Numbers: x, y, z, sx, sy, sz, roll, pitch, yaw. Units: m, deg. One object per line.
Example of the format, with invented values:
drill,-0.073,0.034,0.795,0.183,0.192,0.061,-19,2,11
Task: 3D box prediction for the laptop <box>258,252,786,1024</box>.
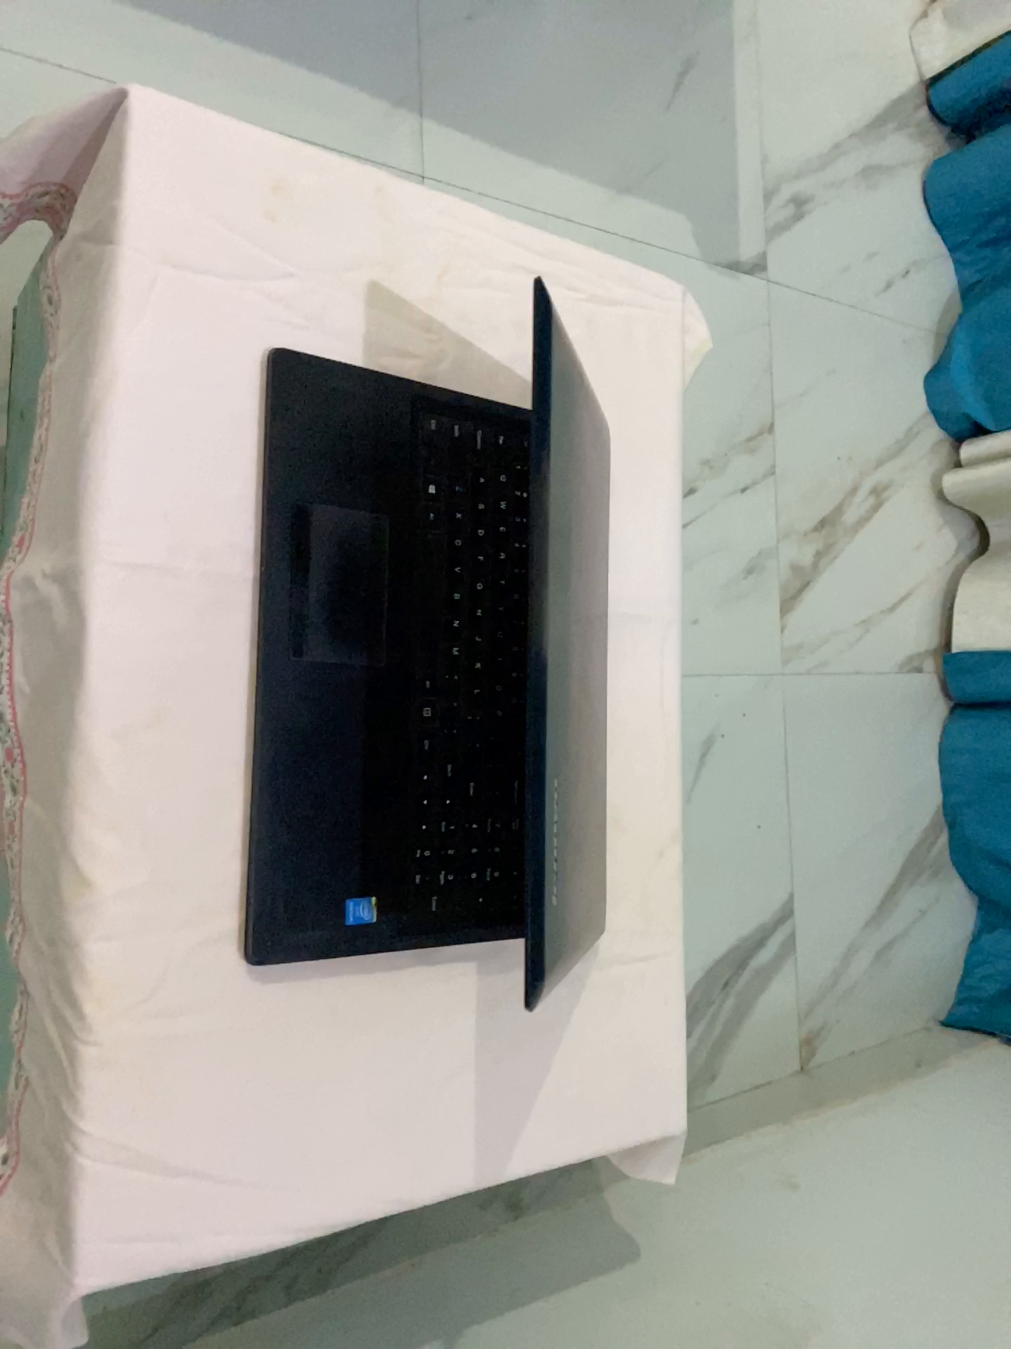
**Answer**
laptop,0.012,-0.011,0.630,0.259,0.176,0.368,4,85,-33
